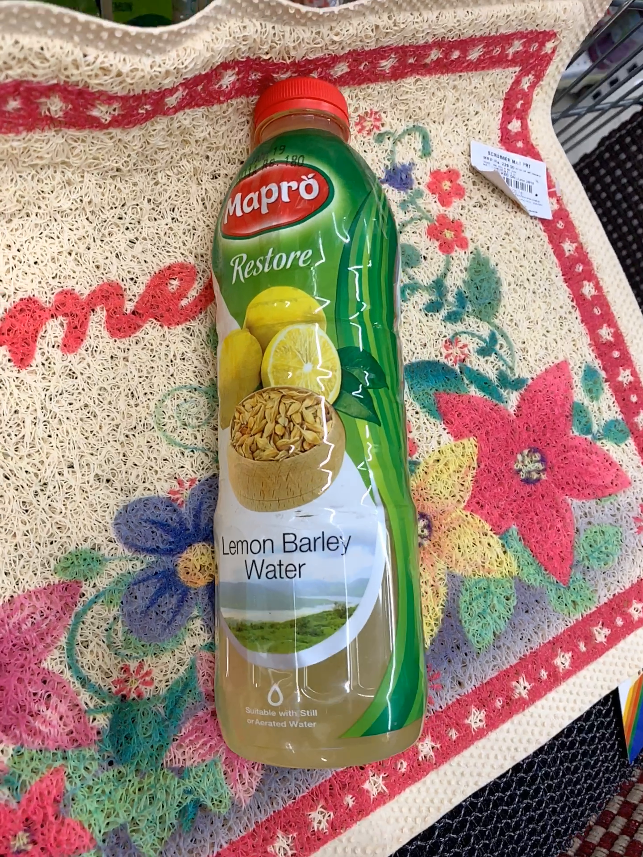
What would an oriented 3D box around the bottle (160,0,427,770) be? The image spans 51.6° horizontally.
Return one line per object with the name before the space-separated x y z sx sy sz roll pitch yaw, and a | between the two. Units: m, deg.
bottle | -0.009 -0.022 0.268 0.080 0.090 0.270 -4 79 9
